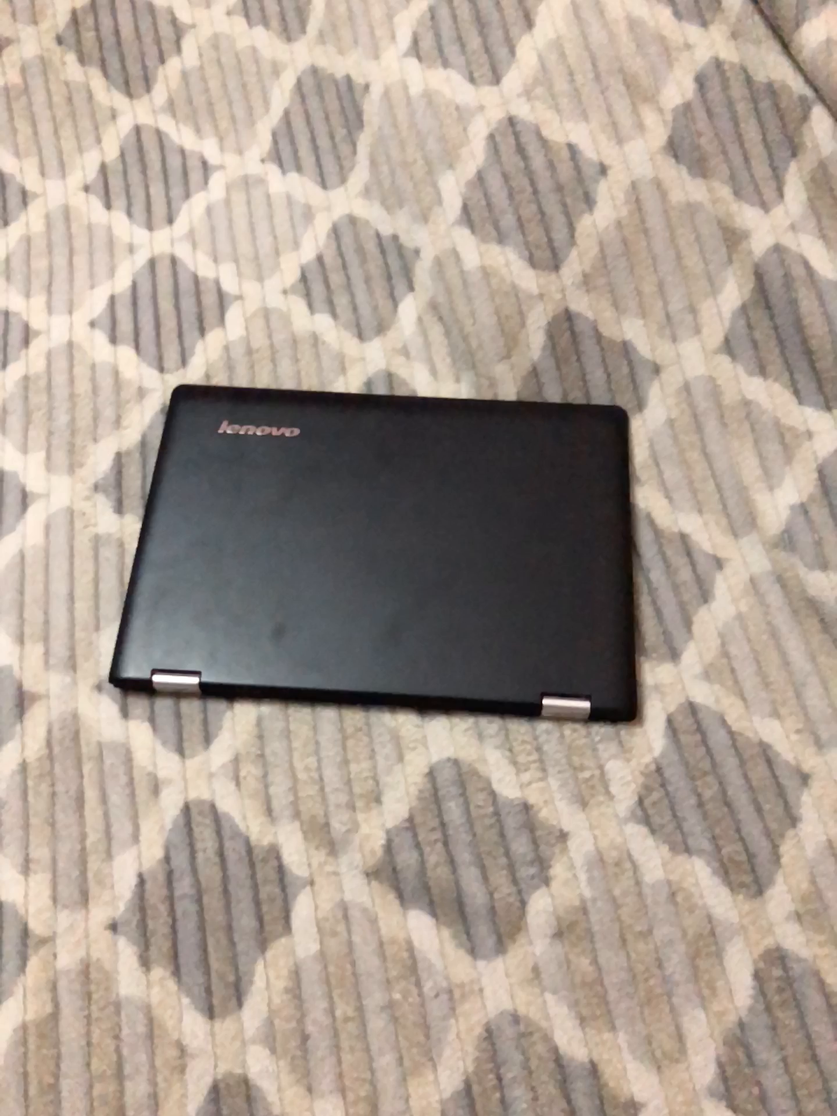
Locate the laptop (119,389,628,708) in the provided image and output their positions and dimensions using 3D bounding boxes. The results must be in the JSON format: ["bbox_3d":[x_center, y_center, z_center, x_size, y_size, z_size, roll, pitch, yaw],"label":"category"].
[{"bbox_3d":[-0.023,-0.016,0.663,0.339,0.005,0.231,3,66,2],"label":"laptop"}]
